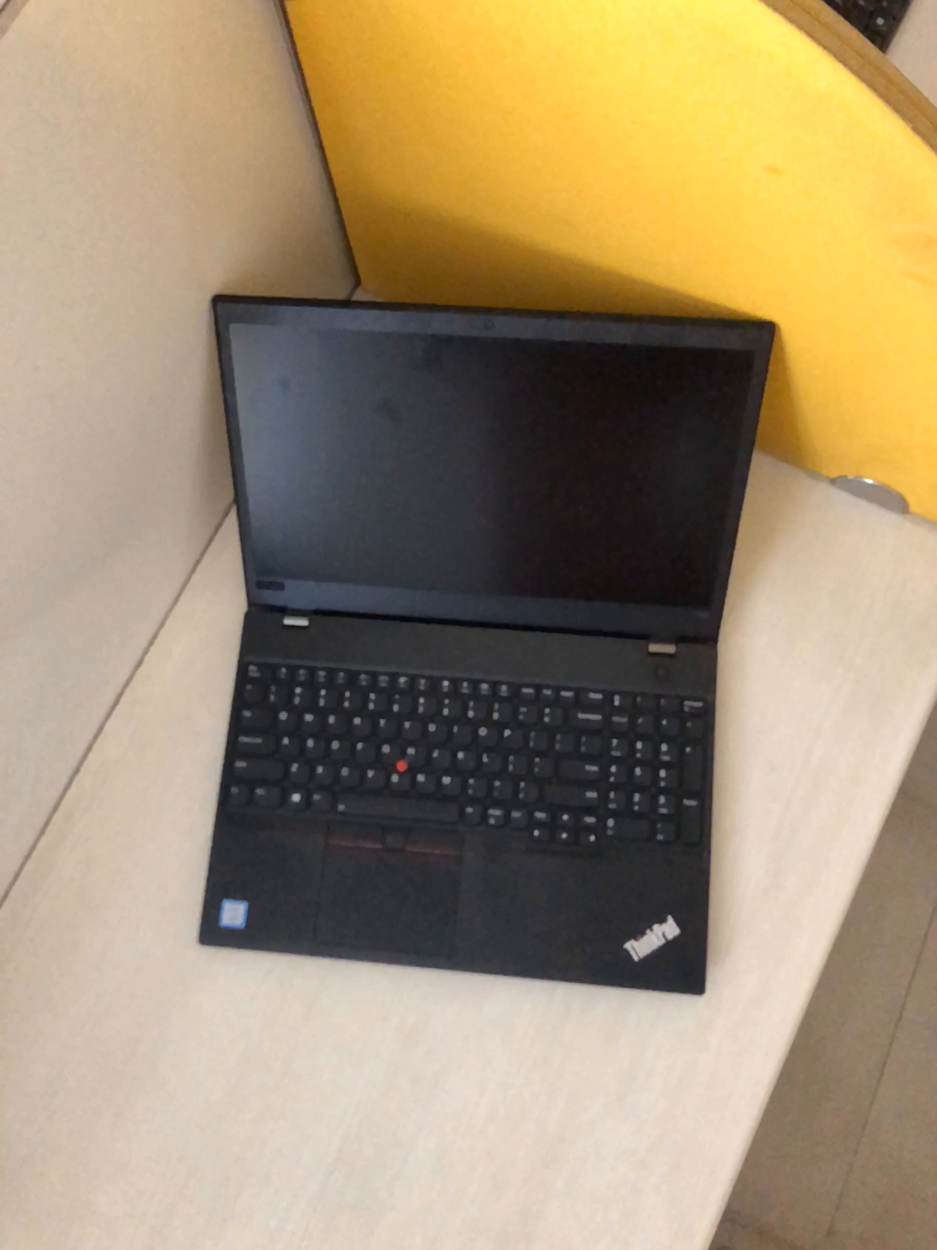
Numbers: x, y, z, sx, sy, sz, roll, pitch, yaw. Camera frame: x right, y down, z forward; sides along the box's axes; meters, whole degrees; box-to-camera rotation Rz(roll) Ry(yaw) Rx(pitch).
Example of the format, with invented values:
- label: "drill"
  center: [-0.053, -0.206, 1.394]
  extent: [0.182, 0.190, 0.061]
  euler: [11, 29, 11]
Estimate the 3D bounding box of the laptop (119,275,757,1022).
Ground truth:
- label: "laptop"
  center: [-0.004, 0.014, 0.685]
  extent: [0.344, 0.151, 0.420]
  euler: [4, 79, 3]
